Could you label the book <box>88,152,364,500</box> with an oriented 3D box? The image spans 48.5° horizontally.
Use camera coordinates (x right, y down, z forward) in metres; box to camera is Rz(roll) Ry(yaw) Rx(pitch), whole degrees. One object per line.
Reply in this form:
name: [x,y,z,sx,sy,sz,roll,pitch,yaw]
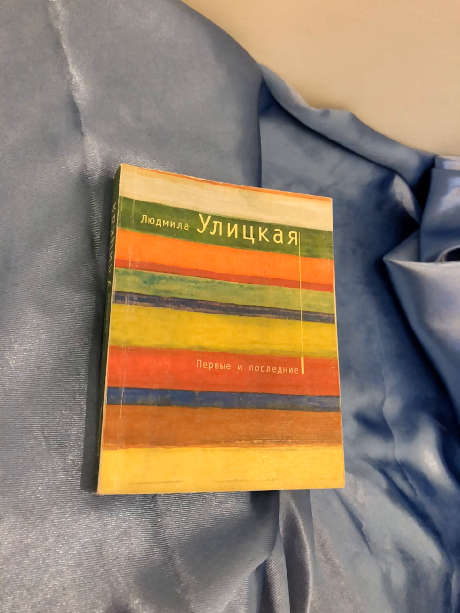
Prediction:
book: [0.001,0.010,0.267,0.130,0.026,0.167,5,73,-17]
